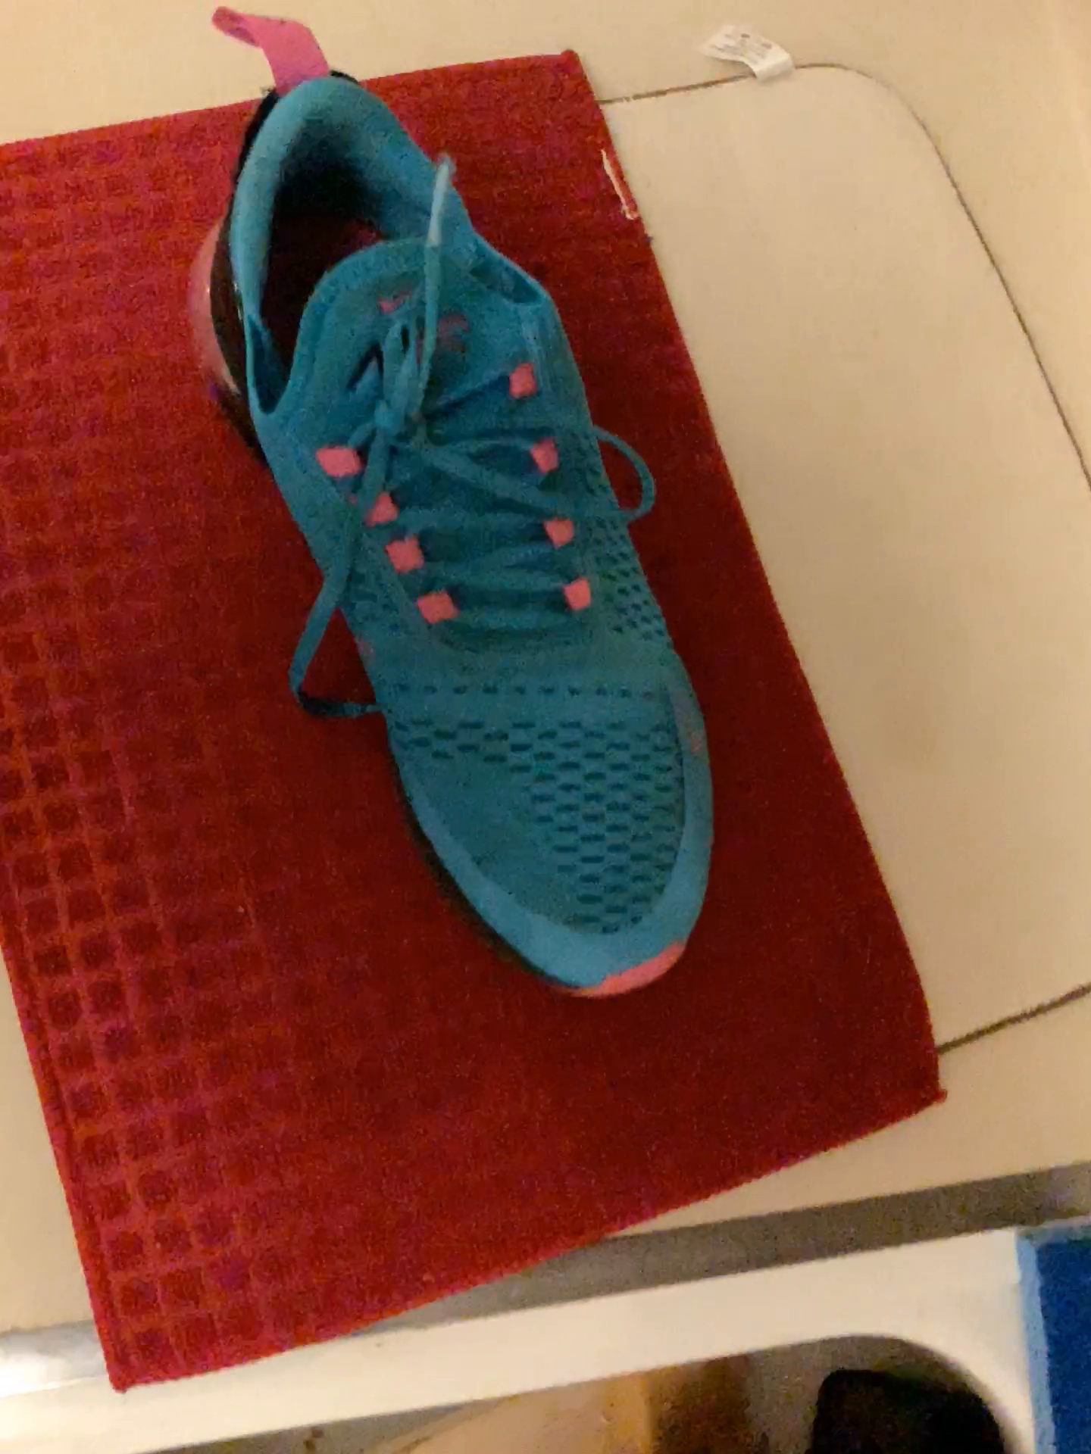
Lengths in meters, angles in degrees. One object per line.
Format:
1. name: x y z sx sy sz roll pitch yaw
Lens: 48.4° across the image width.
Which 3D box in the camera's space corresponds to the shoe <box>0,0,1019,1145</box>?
1. shoe: -0.024 -0.067 0.381 0.150 0.130 0.330 -24 83 -13
